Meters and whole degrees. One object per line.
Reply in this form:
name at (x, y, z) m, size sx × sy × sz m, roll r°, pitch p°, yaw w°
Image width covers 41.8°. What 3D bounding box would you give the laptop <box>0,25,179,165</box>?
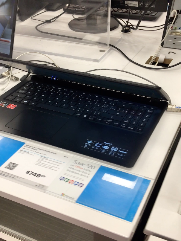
laptop at (-0.061, -0.075, 0.502) m, size 0.382 × 0.157 × 0.230 m, roll 16°, pitch 46°, yaw 19°
